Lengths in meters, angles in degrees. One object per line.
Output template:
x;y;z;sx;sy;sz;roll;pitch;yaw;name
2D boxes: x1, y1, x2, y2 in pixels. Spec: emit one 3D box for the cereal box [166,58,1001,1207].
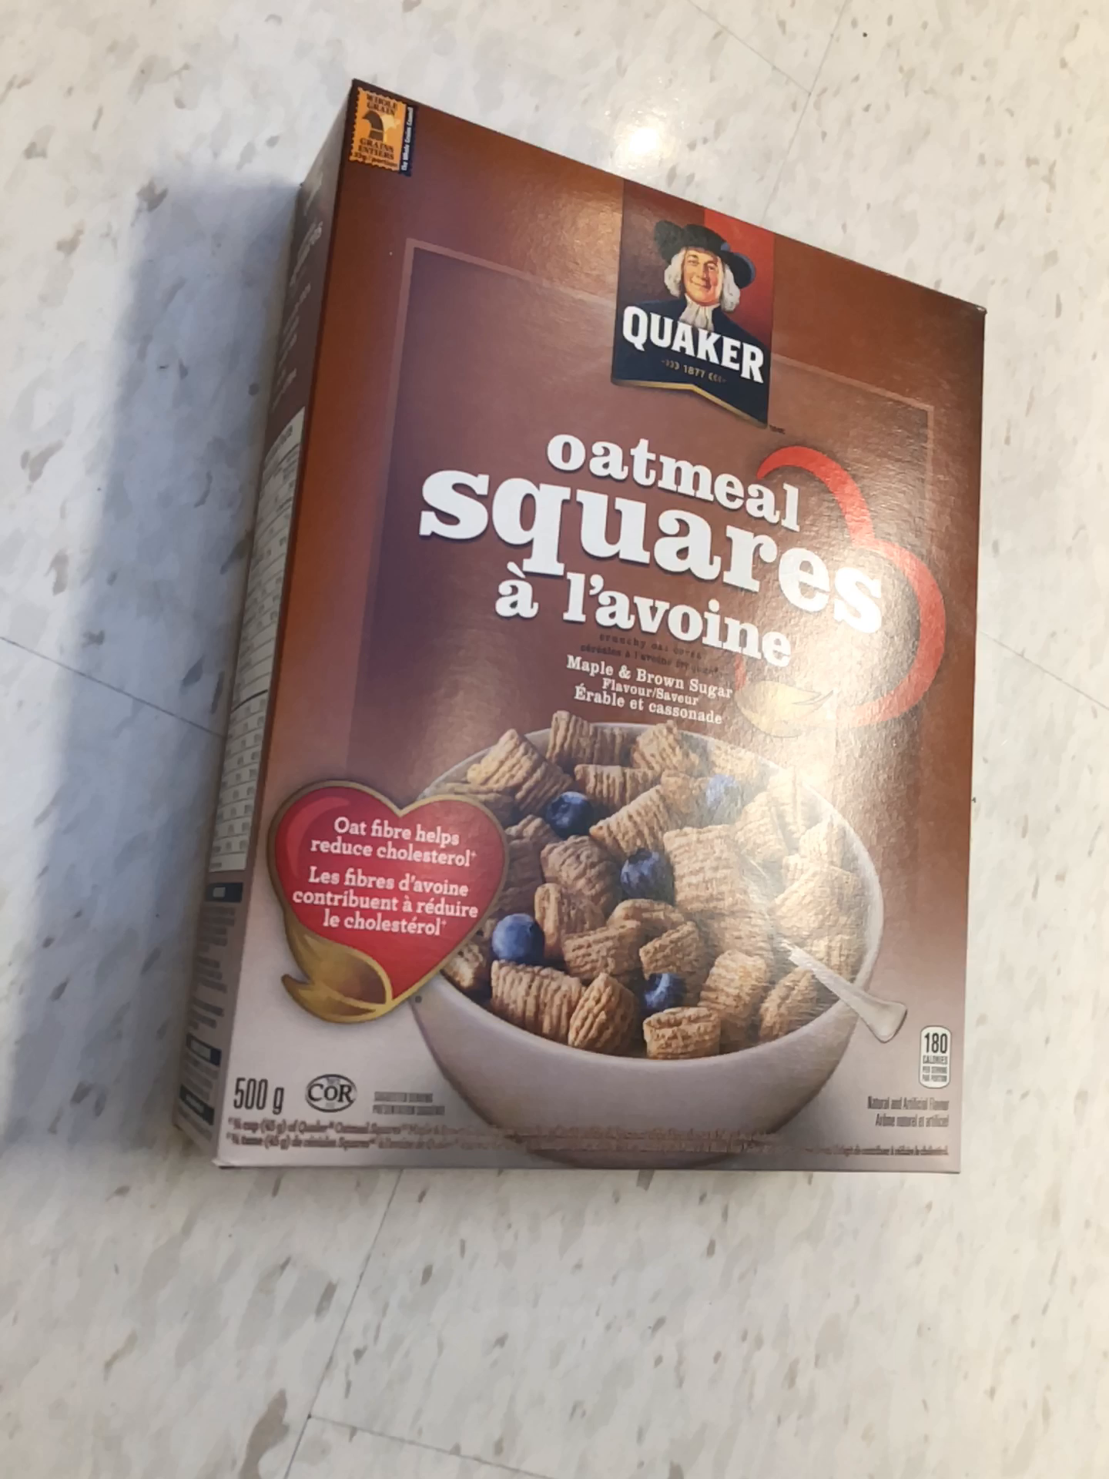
0.020;-0.016;0.350;0.210;0.070;0.270;9;79;-23;cereal box
